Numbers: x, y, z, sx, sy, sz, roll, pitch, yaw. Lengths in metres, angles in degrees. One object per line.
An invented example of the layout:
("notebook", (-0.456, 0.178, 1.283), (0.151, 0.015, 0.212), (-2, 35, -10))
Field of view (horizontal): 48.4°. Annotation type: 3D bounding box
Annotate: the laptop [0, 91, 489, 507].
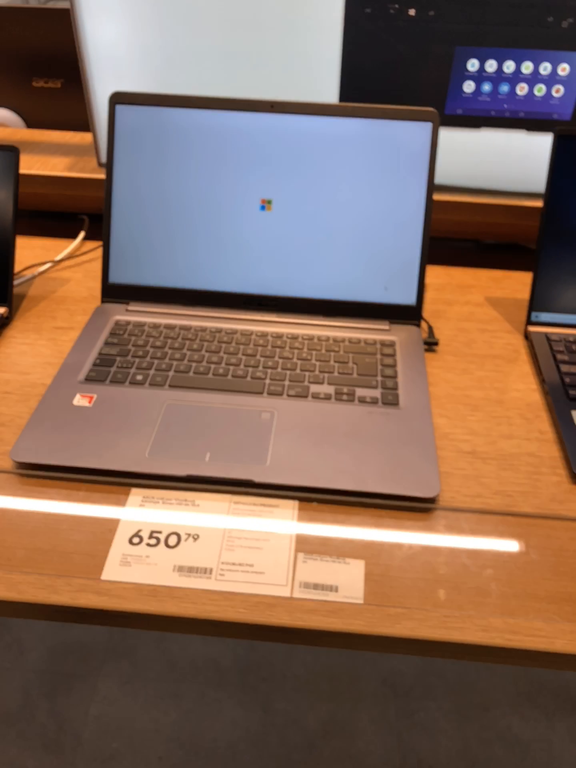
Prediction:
("laptop", (-0.037, -0.113, 0.608), (0.352, 0.177, 0.392), (4, 41, 3))
